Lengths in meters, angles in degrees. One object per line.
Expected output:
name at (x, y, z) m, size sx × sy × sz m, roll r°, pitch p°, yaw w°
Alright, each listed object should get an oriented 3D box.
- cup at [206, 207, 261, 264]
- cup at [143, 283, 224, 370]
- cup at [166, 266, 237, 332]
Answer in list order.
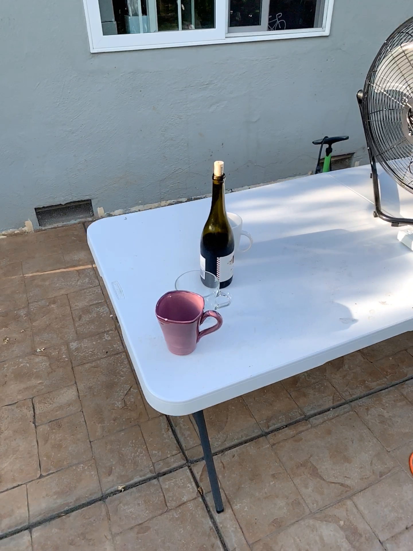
cup at (0.071, -0.106, 1.107) m, size 0.120 × 0.099 × 0.090 m, roll 11°, pitch 37°, yaw 16°
cup at (-0.042, 0.099, 0.849) m, size 0.130 × 0.109 × 0.101 m, roll 11°, pitch 37°, yaw 16°
cup at (-0.009, 0.050, 0.946) m, size 0.130 × 0.079 × 0.101 m, roll 11°, pitch 37°, yaw 16°
